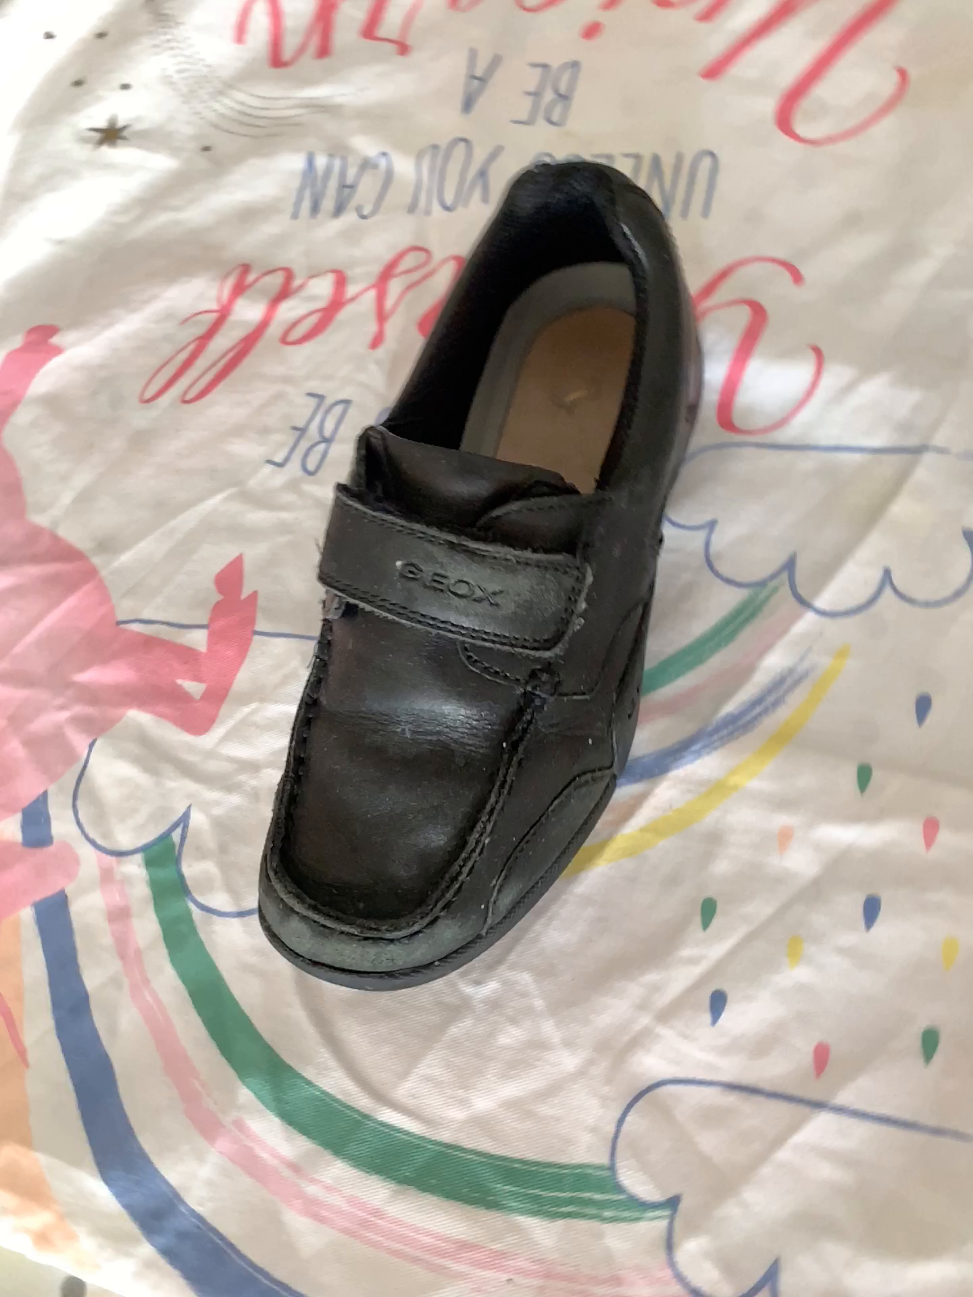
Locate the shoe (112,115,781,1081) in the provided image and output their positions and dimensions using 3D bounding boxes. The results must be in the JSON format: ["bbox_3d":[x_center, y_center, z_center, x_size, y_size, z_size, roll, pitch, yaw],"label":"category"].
[{"bbox_3d":[0.010,-0.008,0.291,0.080,0.139,0.220,16,75,17],"label":"shoe"}]
